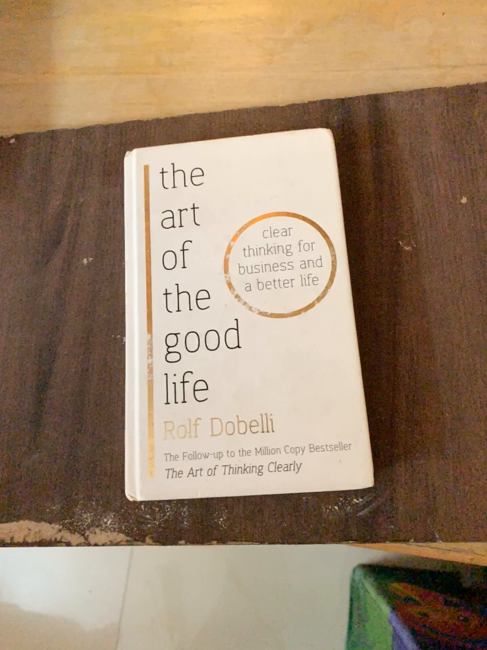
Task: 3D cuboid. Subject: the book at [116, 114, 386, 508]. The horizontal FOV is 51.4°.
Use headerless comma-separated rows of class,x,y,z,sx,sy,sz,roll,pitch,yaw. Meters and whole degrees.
book,-0.001,-0.008,0.254,0.117,0.037,0.180,-4,78,6
